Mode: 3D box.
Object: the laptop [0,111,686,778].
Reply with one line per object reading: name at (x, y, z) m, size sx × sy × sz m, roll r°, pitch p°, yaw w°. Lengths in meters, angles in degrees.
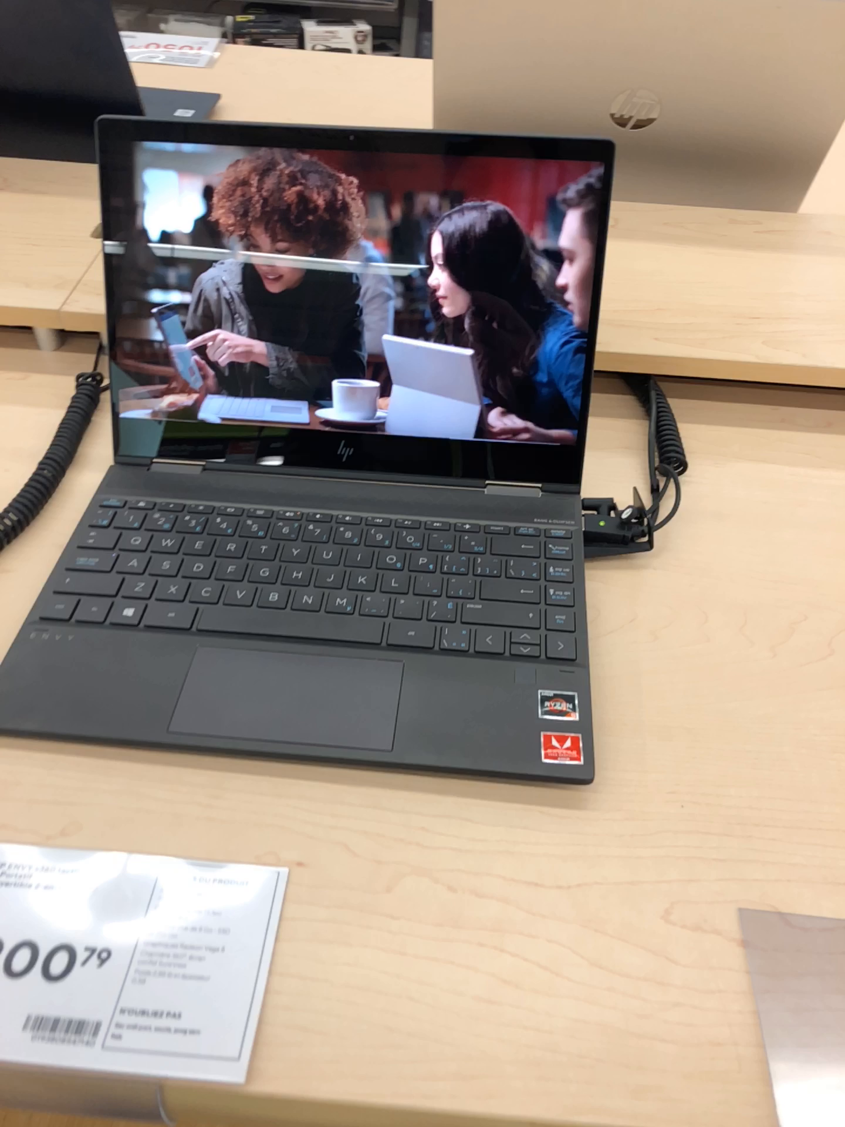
laptop at (-0.053, -0.078, 0.483) m, size 0.294 × 0.182 × 0.289 m, roll 4°, pitch 45°, yaw 1°
